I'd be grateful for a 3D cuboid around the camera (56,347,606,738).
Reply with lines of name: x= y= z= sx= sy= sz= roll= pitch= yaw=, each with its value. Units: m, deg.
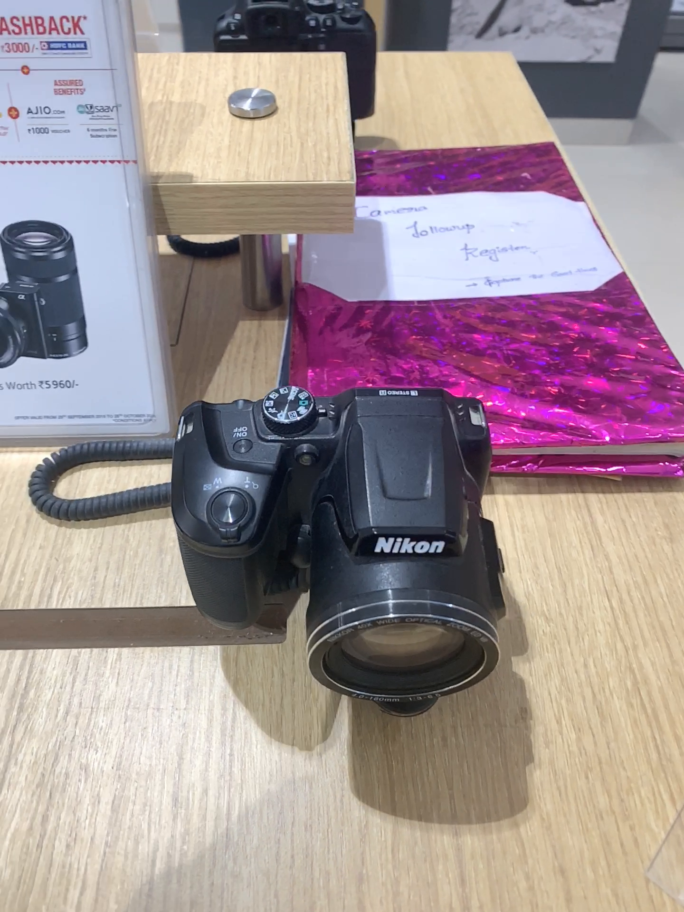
camera: x=-0.004 y=0.029 z=0.231 sx=0.130 sy=0.090 sz=0.090 roll=0 pitch=47 yaw=-2
